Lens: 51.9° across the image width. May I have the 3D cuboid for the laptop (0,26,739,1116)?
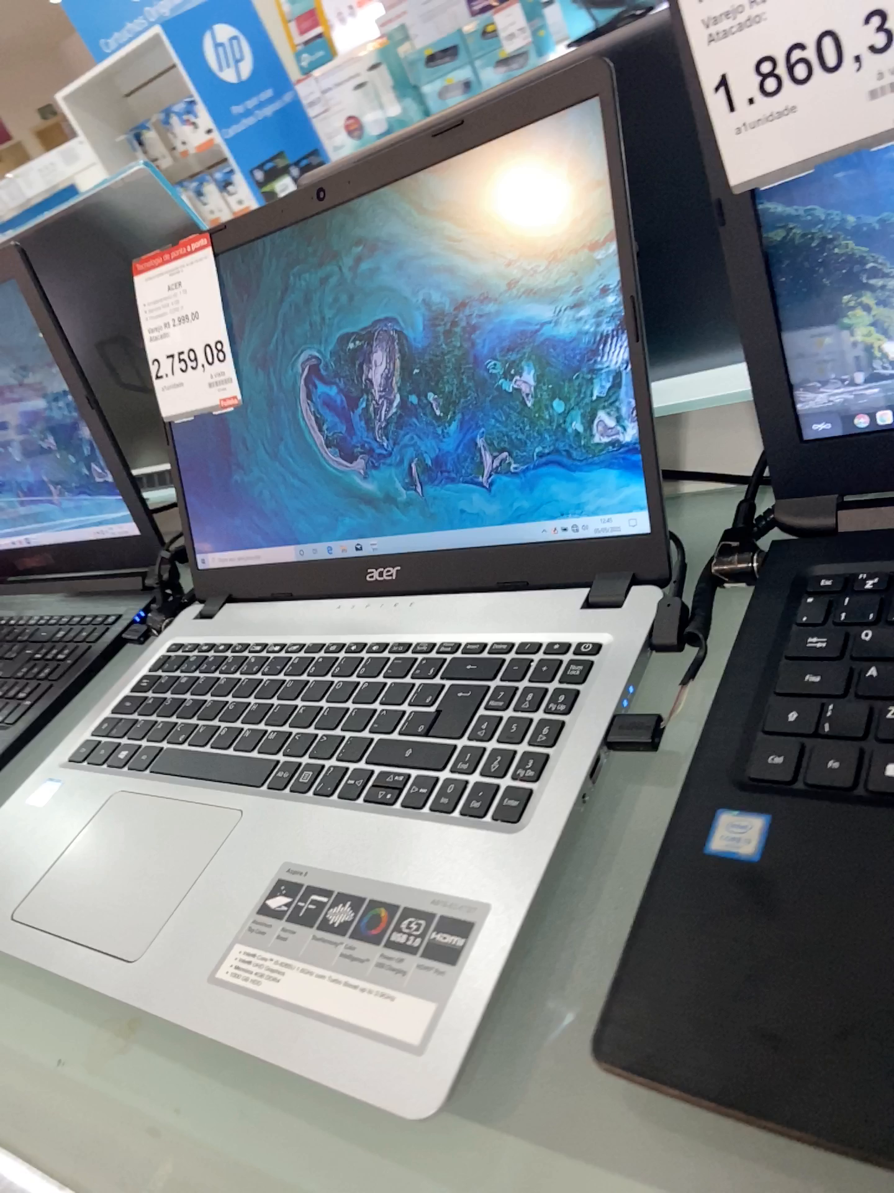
[{"bbox_3d":[-0.105,-0.037,0.438,0.351,0.198,0.363,-3,40,38],"label":"laptop"}]
